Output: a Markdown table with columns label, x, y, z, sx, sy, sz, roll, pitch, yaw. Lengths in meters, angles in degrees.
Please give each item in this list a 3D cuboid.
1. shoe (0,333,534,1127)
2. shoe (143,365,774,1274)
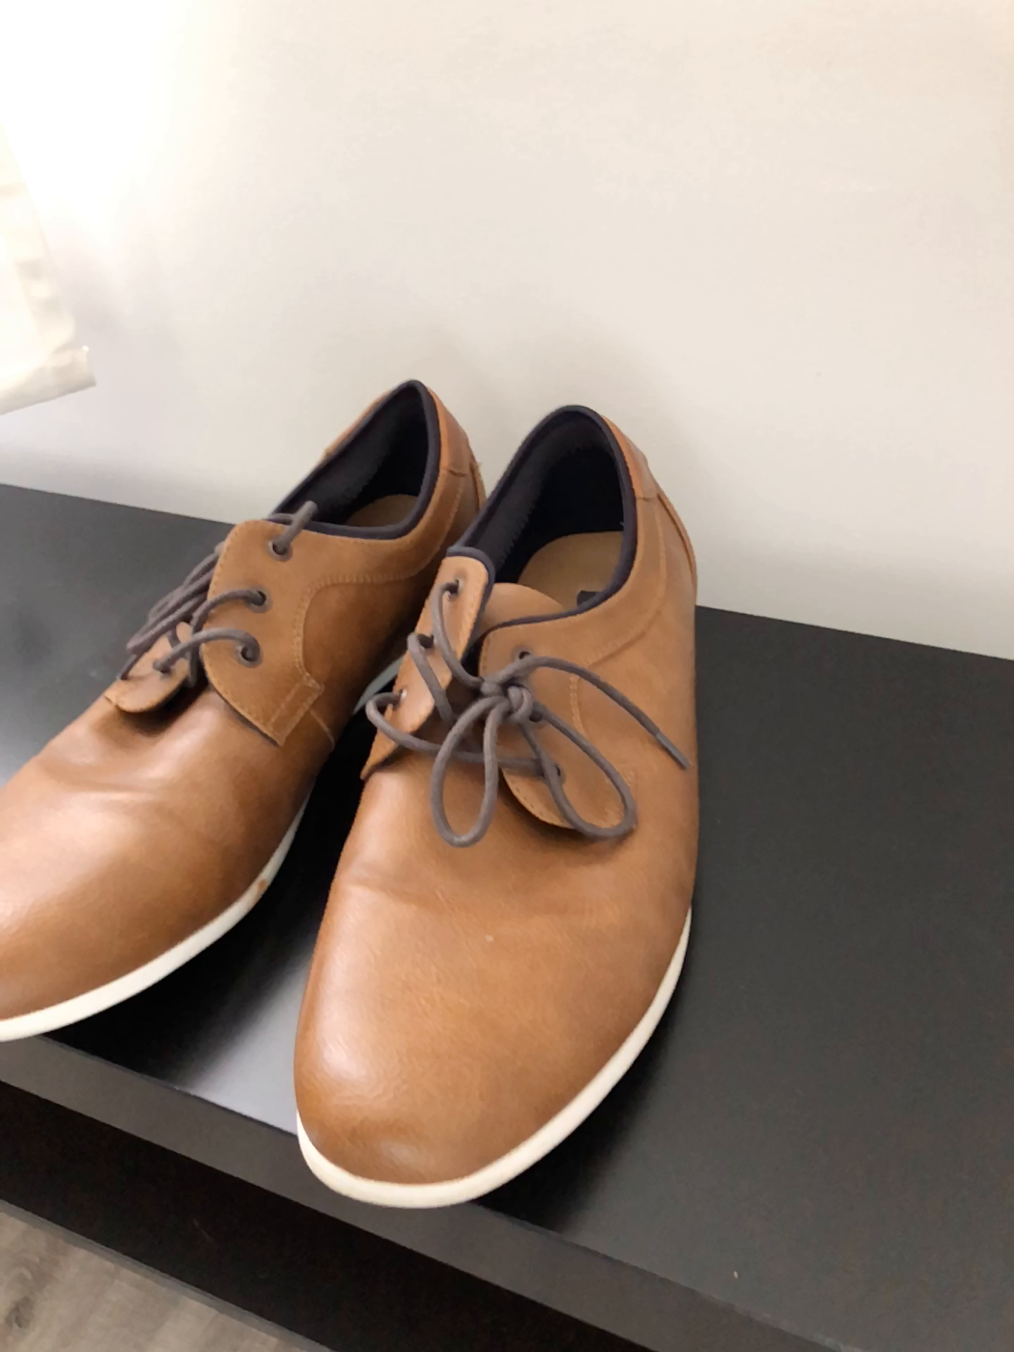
| label | x | y | z | sx | sy | sz | roll | pitch | yaw |
| --- | --- | --- | --- | --- | --- | --- | --- | --- | --- |
| shoe | -0.101 | -0.008 | 0.387 | 0.104 | 0.100 | 0.270 | 16 | 46 | 24 |
| shoe | 0.014 | 0.013 | 0.359 | 0.104 | 0.100 | 0.281 | 7 | 43 | 15 |
